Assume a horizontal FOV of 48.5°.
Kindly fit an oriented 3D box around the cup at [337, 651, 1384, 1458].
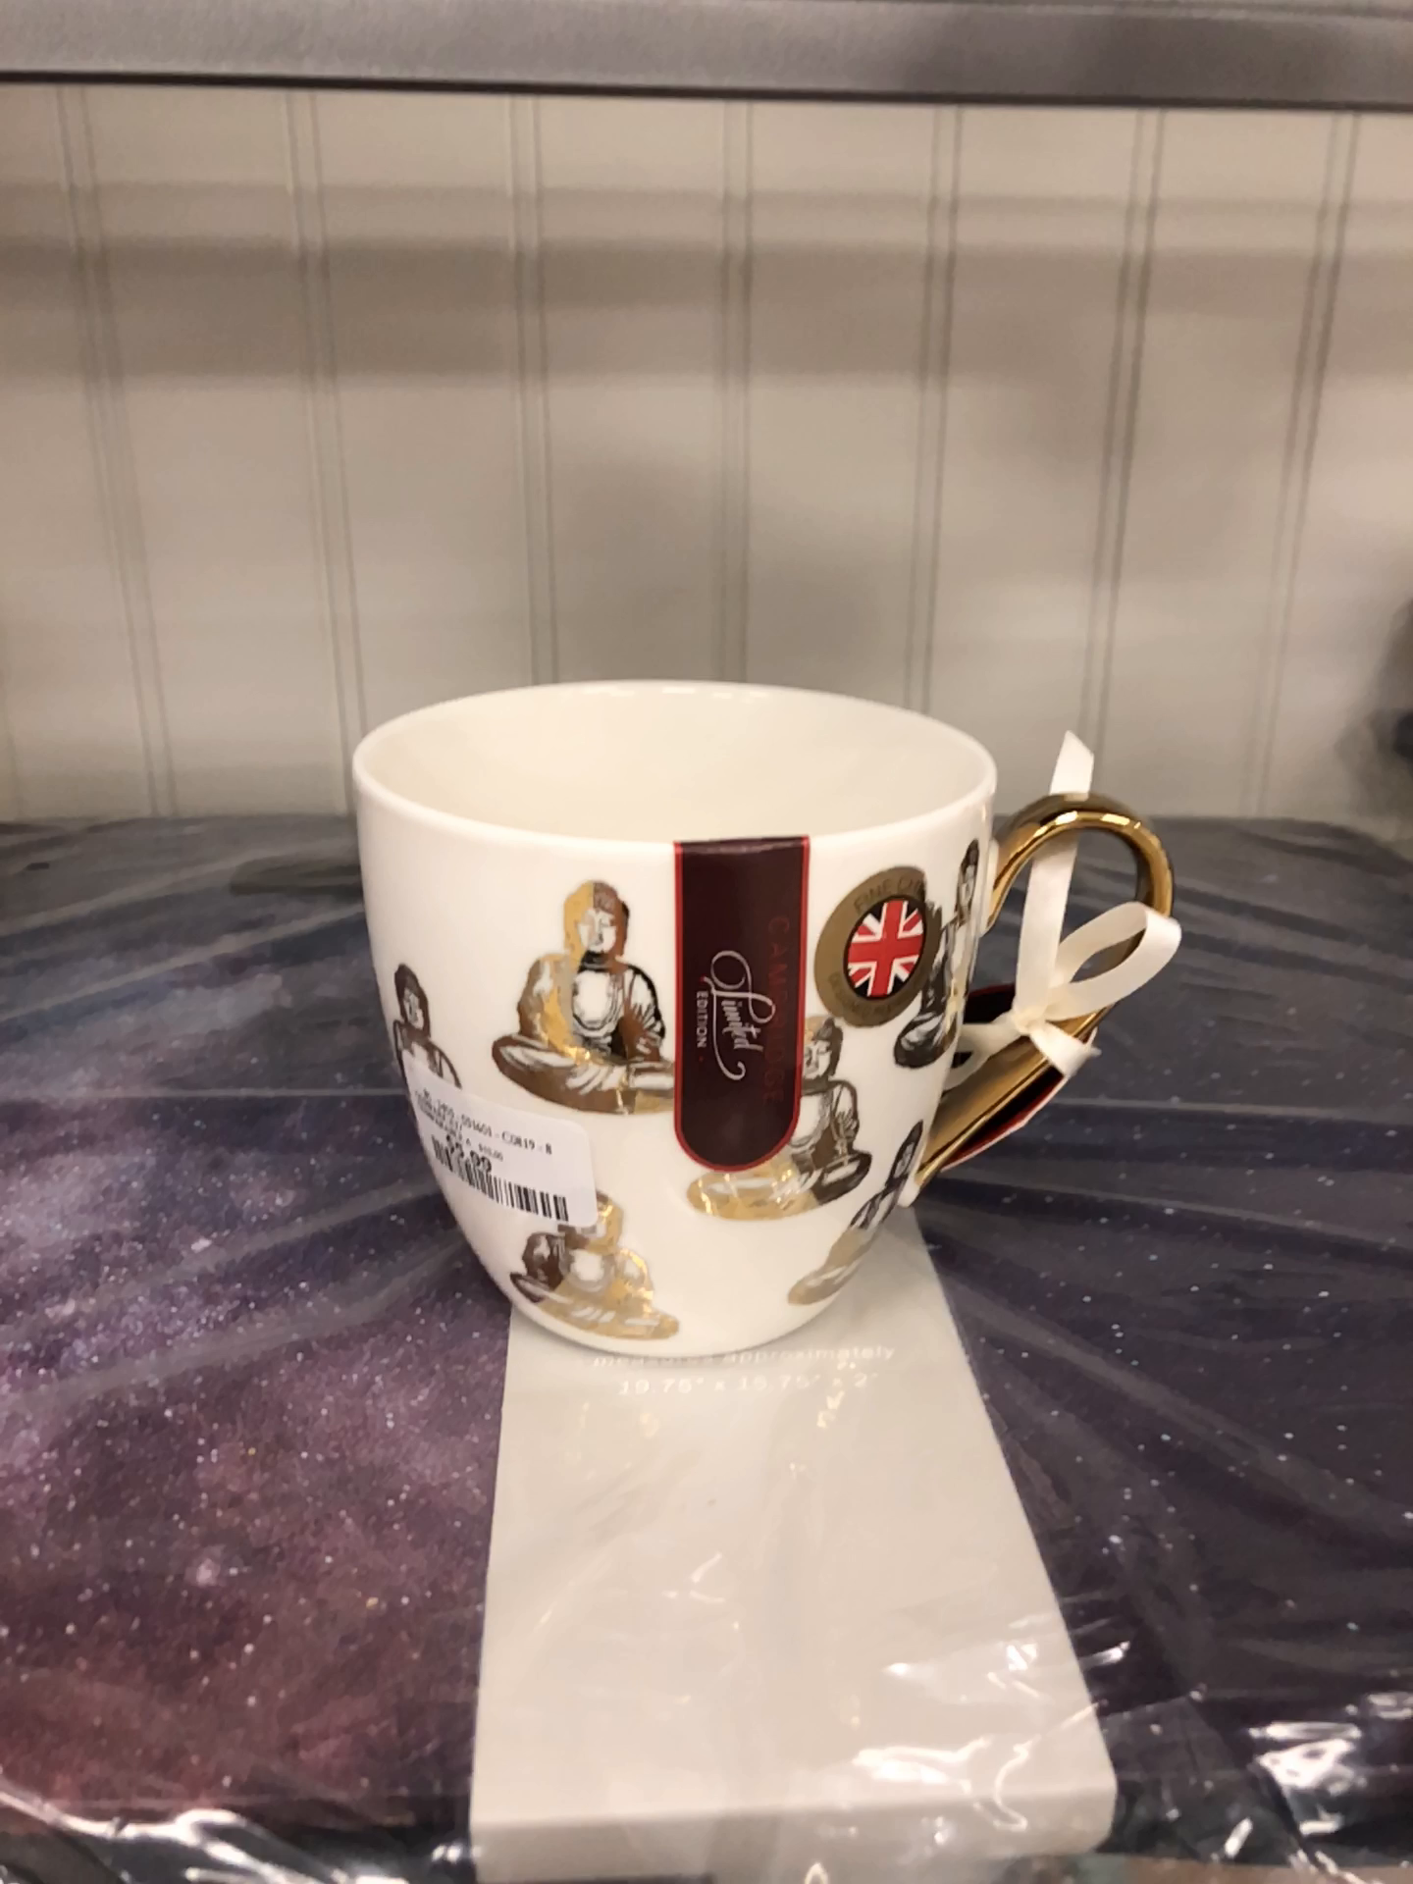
[{"bbox_3d":[0.015,0.009,0.262,0.137,0.089,0.101,-3,23,-9],"label":"cup"}]
